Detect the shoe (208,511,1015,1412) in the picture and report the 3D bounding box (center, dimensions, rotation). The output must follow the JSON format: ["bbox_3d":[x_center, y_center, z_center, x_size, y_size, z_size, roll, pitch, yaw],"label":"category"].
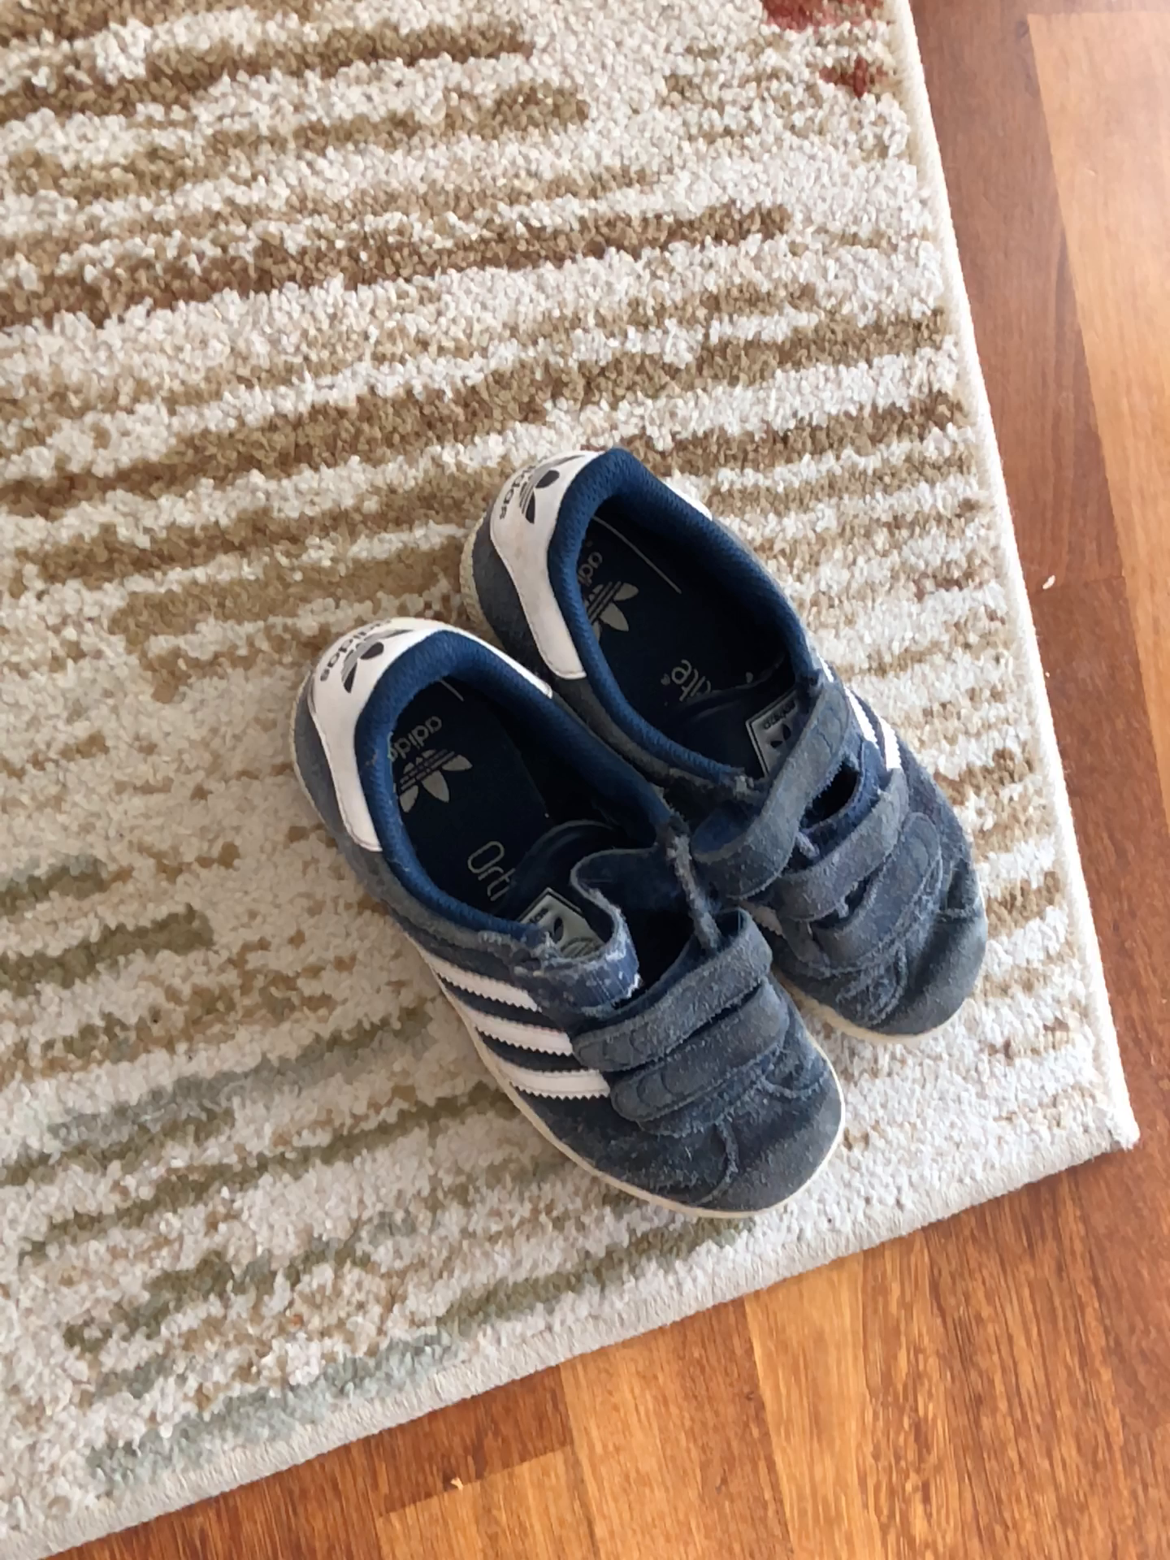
[{"bbox_3d":[0.008,0.047,0.335,0.084,0.053,0.216,-41,101,-13],"label":"shoe"}]

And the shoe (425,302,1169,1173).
[{"bbox_3d":[0.065,-0.007,0.352,0.086,0.052,0.219,-43,101,-12],"label":"shoe"}]
